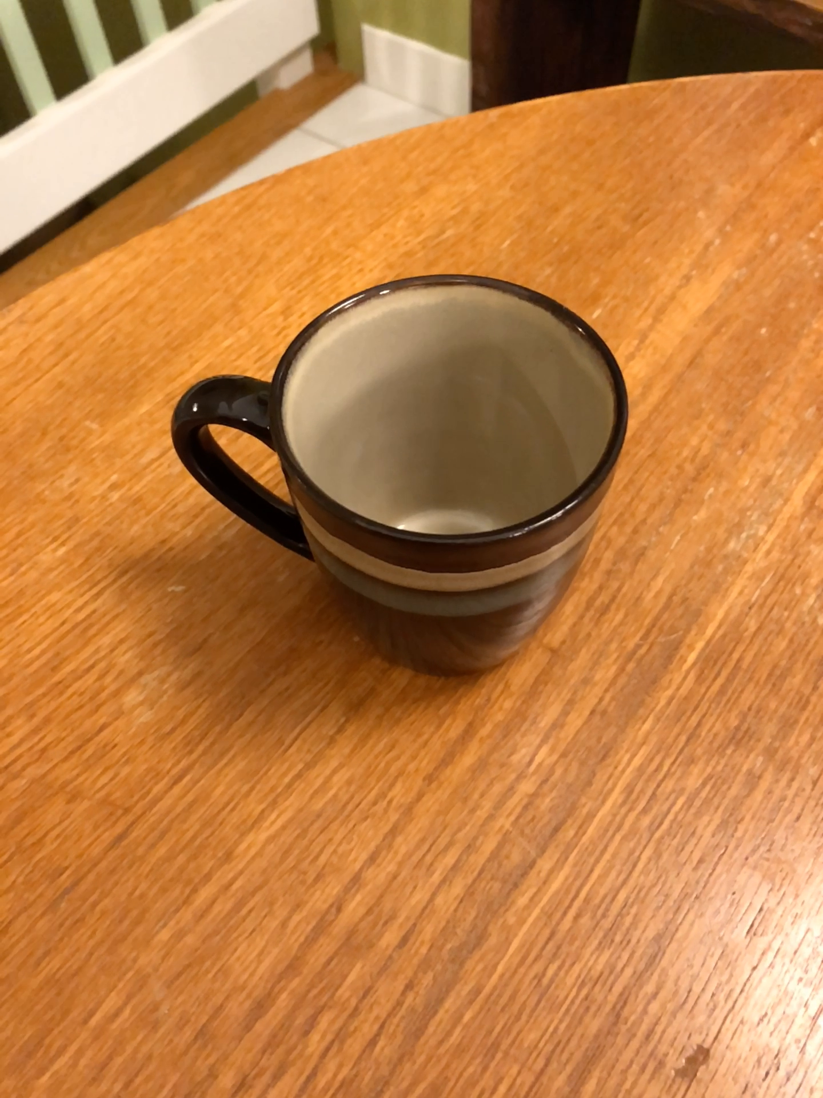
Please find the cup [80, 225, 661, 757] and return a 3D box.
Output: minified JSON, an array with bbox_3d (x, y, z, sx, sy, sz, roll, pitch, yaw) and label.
[{"bbox_3d":[-0.005,-0.017,0.277,0.125,0.094,0.099,15,58,12],"label":"cup"}]
